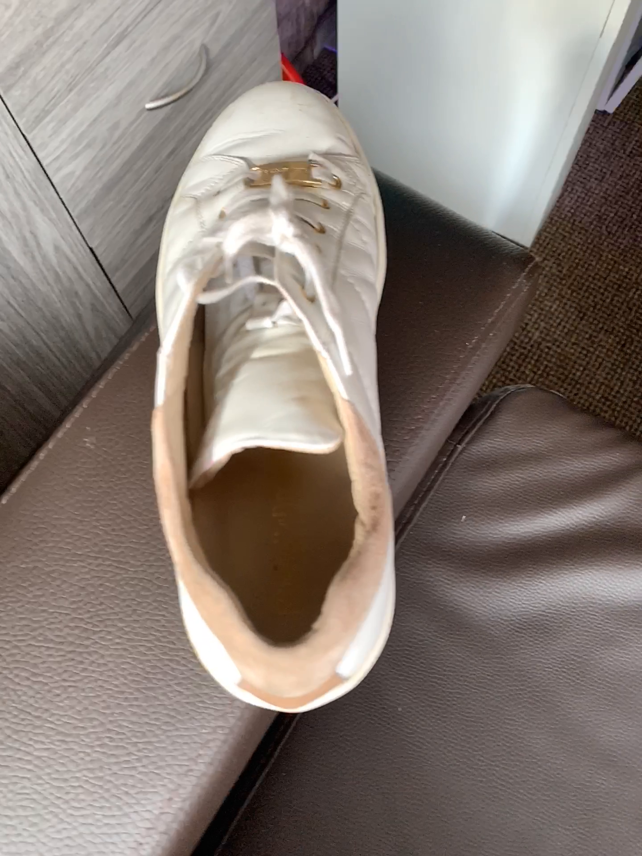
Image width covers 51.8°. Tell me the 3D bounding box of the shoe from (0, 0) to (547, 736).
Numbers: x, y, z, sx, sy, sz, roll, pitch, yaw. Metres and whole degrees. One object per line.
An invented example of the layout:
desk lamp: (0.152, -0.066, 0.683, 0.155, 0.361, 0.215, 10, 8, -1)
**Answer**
shoe: (-0.018, -0.050, 0.232, 0.110, 0.110, 0.271, -4, 69, -1)
